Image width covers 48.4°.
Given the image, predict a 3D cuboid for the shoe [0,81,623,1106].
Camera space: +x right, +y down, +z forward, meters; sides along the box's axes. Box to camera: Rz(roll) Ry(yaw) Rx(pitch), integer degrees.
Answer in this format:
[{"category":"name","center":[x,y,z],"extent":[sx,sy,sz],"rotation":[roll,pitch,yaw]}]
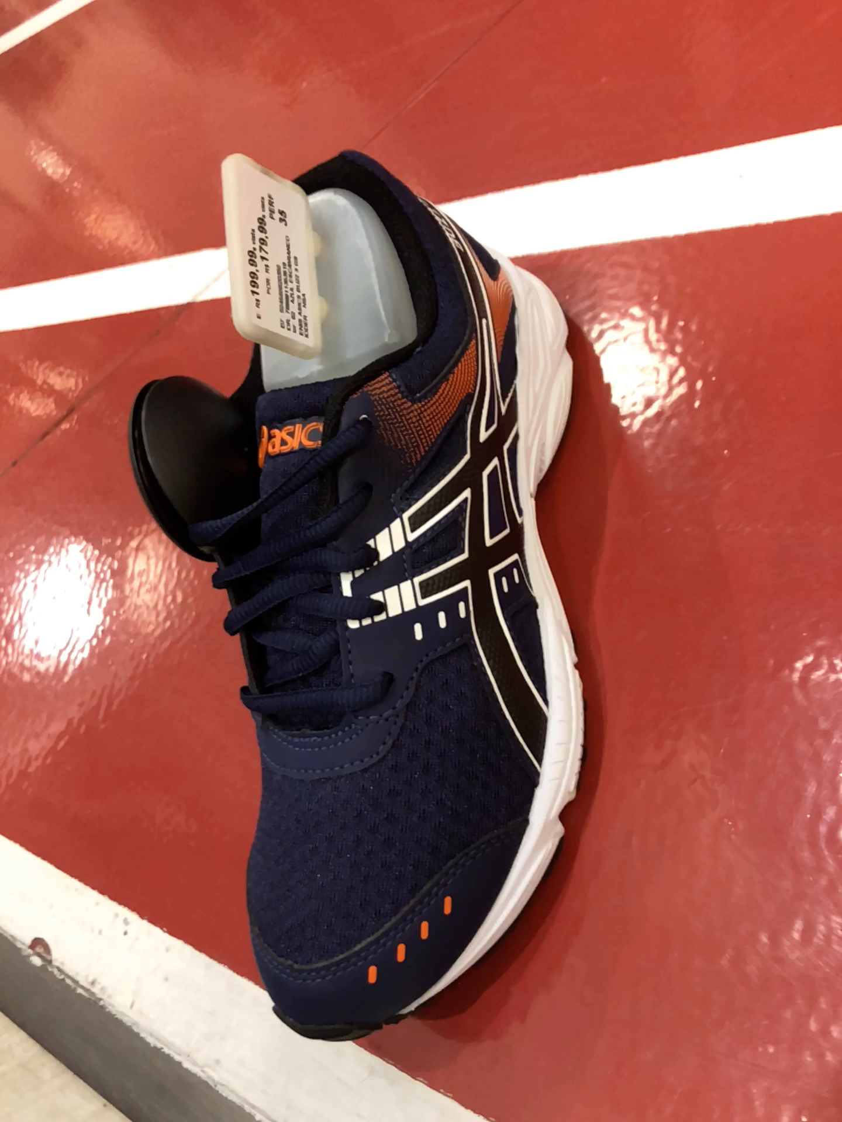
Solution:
[{"category":"shoe","center":[-0.016,0.007,0.270],"extent":[0.100,0.099,0.240],"rotation":[-8,63,35]}]
